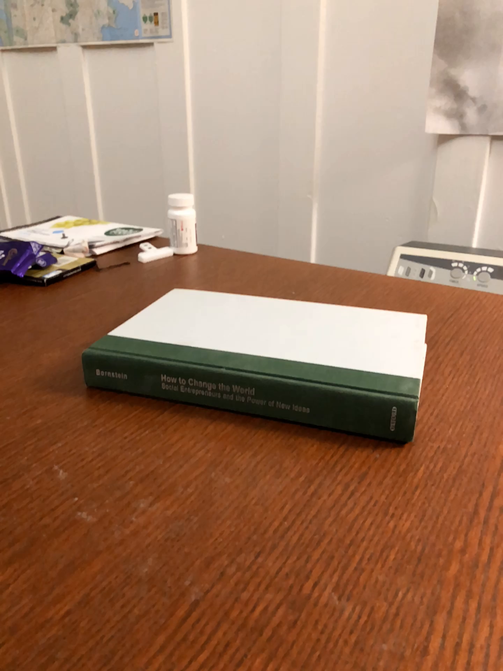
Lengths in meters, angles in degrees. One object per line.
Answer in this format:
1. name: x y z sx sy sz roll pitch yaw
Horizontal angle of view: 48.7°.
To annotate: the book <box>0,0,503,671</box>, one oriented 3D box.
1. book: 0.298 -0.319 0.257 1.000 0.995 1.005 -1 23 -1
